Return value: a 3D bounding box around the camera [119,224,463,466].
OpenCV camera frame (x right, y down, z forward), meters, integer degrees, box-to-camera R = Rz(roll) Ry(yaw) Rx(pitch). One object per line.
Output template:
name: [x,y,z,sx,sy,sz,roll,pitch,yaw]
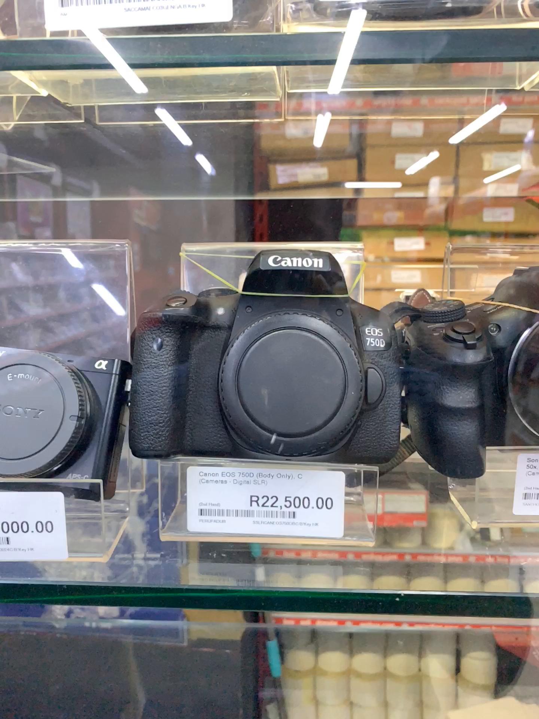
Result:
camera: [0.006,-0.009,0.253,0.130,0.090,0.070,2,9,-2]
